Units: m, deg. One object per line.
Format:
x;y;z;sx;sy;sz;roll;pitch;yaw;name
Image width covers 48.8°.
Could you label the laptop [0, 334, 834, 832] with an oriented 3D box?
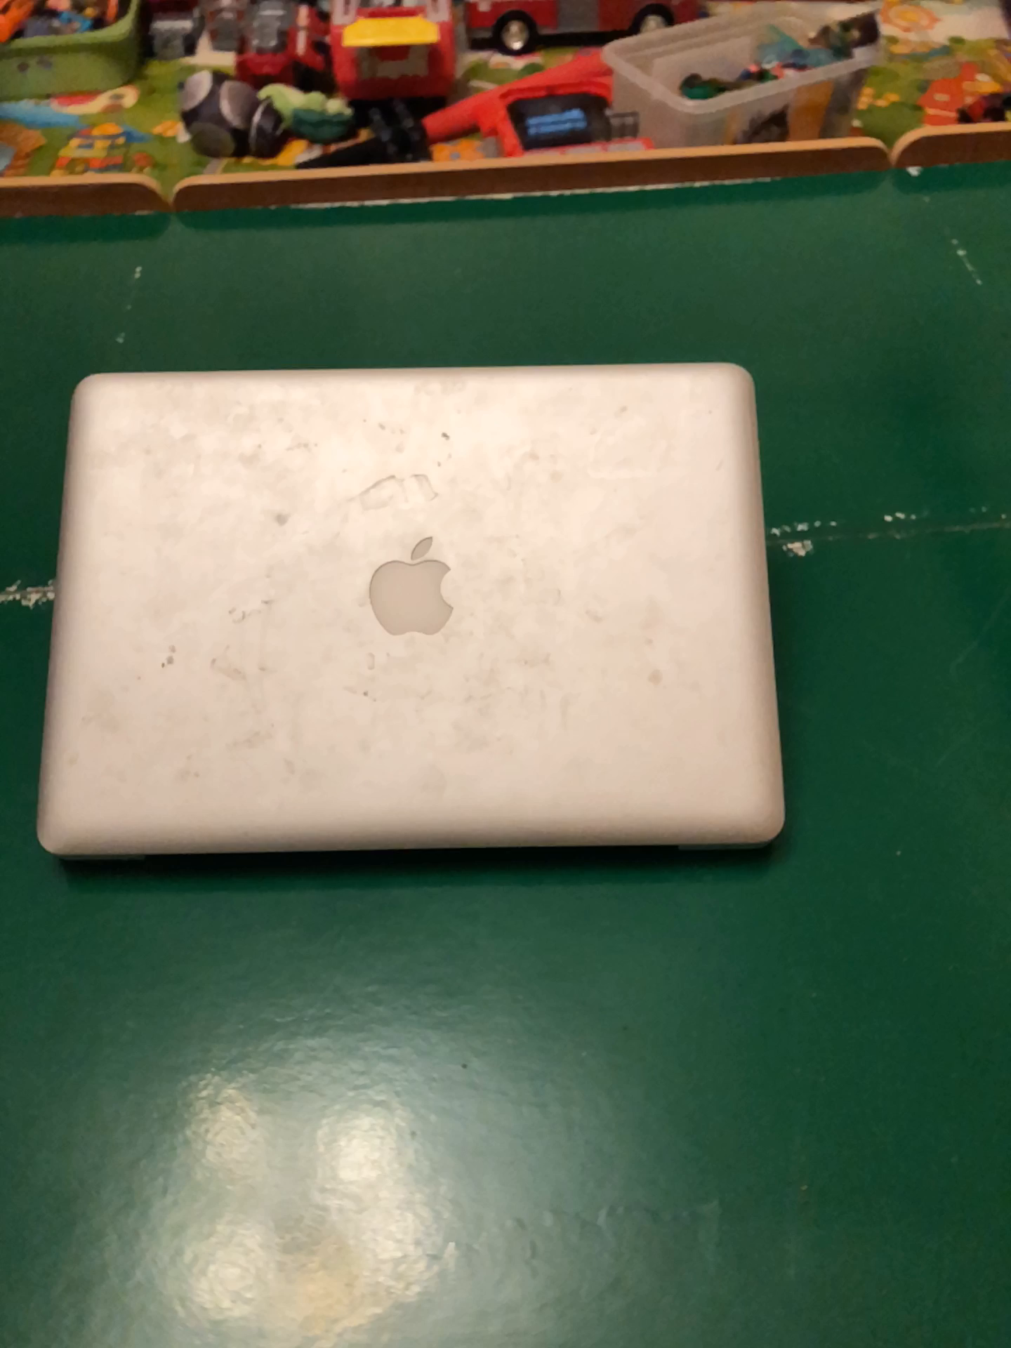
-0.039;-0.046;0.510;0.314;0.098;0.211;-1;52;2;laptop
